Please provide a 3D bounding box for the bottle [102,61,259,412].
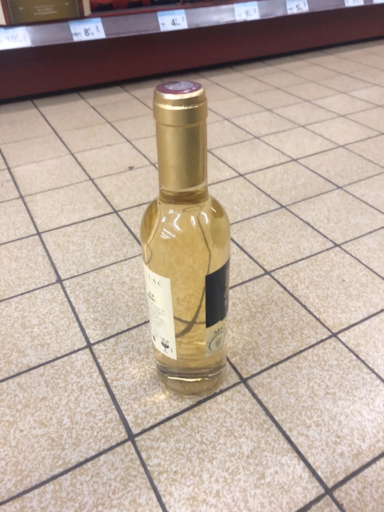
[{"bbox_3d":[-0.006,0.004,0.290,0.070,0.238,0.070,-1,38,0],"label":"bottle"}]
